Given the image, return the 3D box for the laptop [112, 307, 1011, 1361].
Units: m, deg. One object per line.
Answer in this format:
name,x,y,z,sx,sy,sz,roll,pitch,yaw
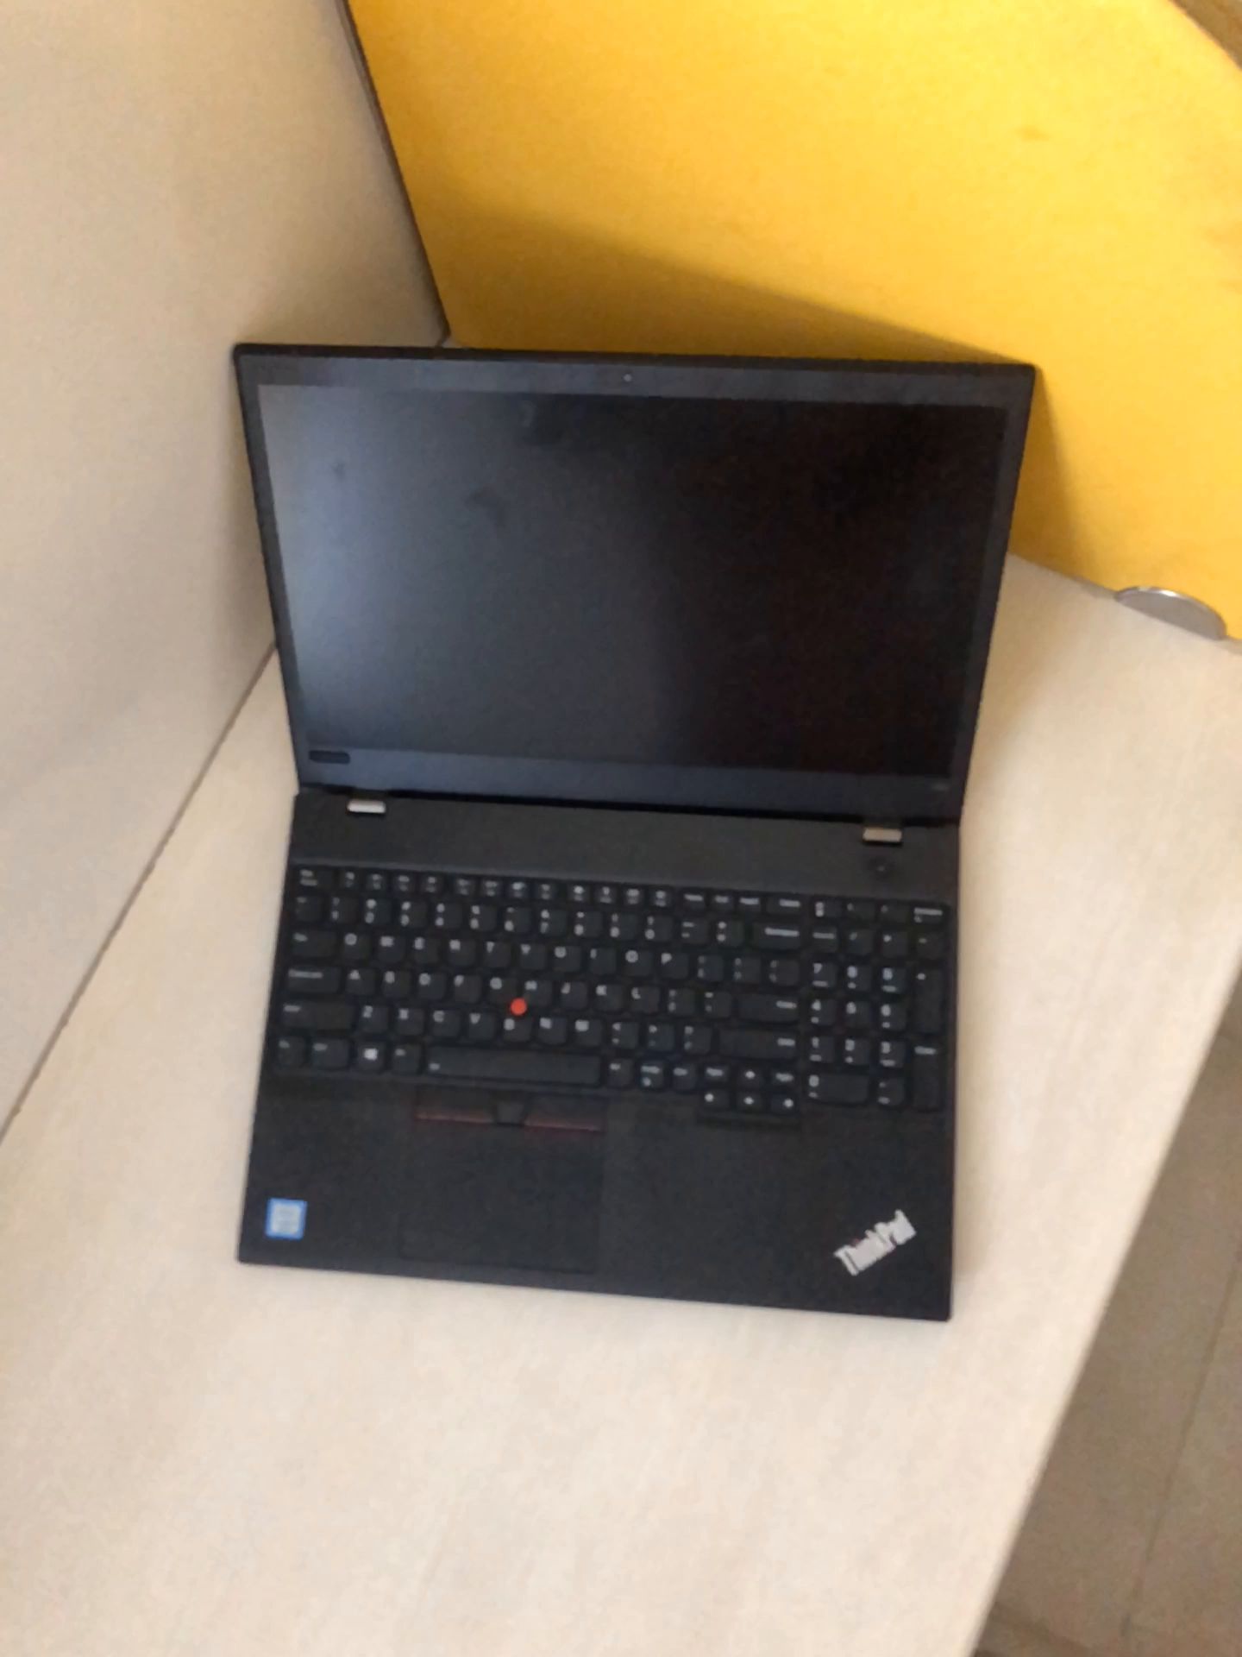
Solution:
laptop,-0.011,0.001,0.639,0.344,0.151,0.420,3,79,3
